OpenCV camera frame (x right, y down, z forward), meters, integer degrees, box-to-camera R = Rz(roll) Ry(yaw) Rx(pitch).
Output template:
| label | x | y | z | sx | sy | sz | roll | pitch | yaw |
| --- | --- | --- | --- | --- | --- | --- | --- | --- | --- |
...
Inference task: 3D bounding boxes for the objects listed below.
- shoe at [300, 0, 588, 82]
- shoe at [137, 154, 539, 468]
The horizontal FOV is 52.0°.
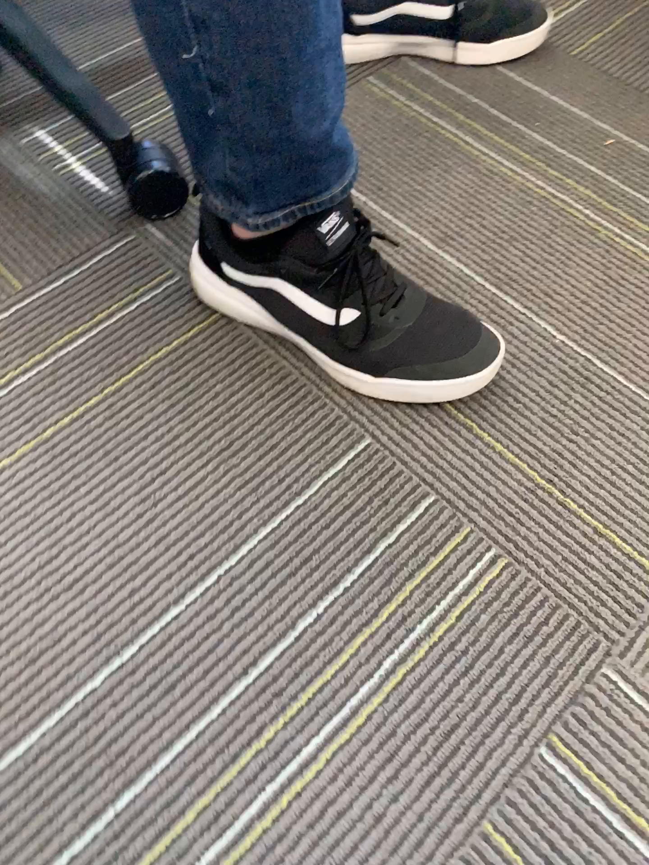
| label | x | y | z | sx | sy | sz | roll | pitch | yaw |
| --- | --- | --- | --- | --- | --- | --- | --- | --- | --- |
| shoe | 0.133 | -0.526 | 0.823 | 0.320 | 0.110 | 0.120 | -3 | 60 | -3 |
| shoe | 0.007 | -0.115 | 0.610 | 0.320 | 0.120 | 0.120 | 28 | 63 | 14 |
